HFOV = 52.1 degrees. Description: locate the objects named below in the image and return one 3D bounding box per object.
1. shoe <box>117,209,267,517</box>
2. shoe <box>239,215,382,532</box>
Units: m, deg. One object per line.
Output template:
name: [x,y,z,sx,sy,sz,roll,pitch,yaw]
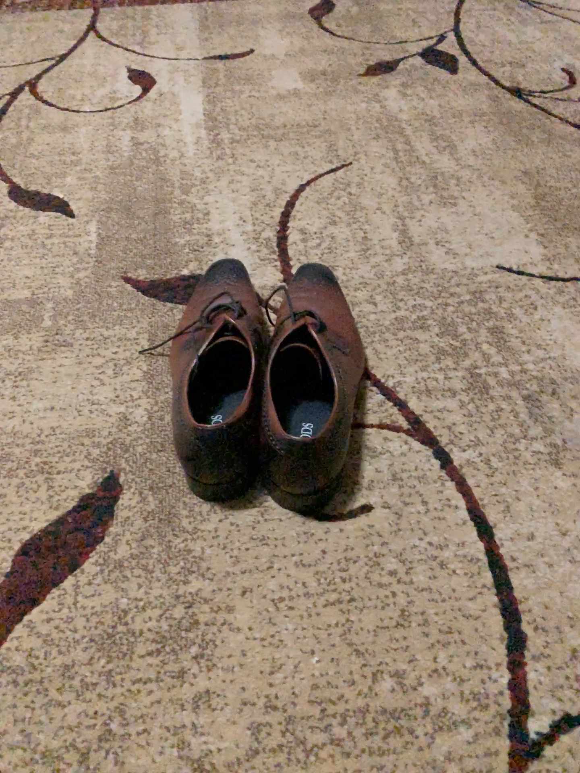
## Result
shoe: [-0.076,-0.035,0.564,0.100,0.115,0.288,-1,50,0]
shoe: [0.024,-0.026,0.553,0.100,0.115,0.288,2,50,3]
